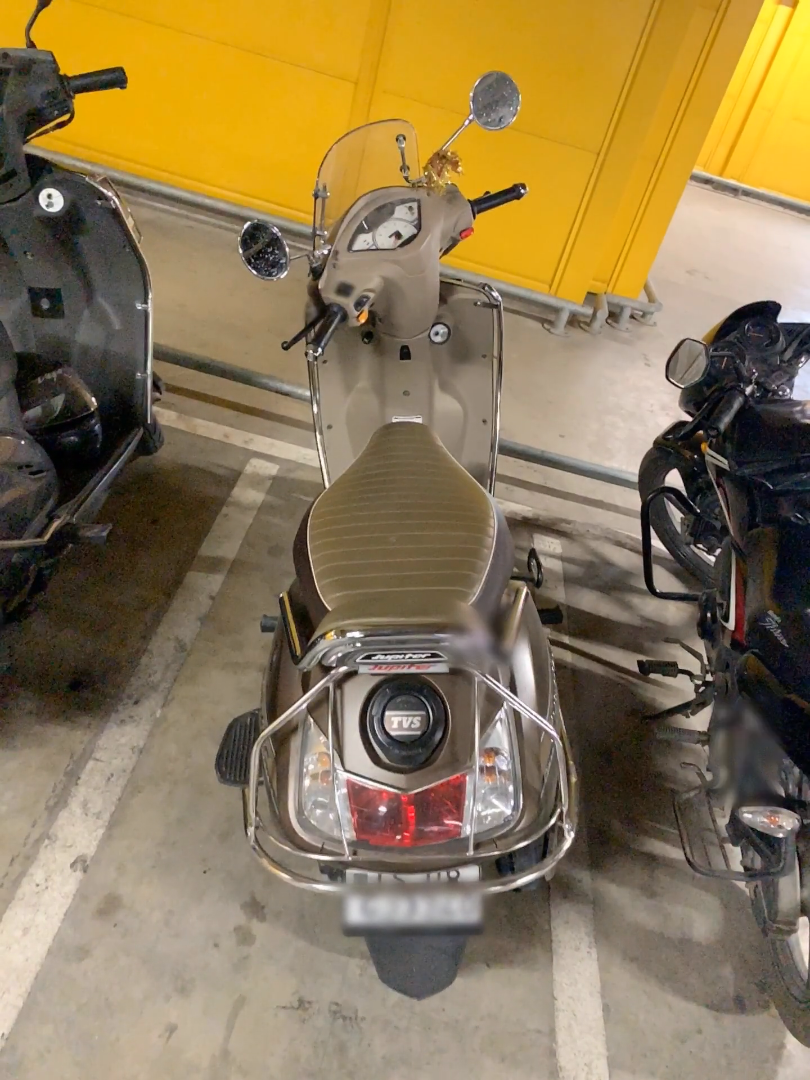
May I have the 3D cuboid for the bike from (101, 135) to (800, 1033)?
[{"bbox_3d":[-0.128,-0.067,1.661,0.603,1.027,1.562,8,34,-13],"label":"bike"}]
